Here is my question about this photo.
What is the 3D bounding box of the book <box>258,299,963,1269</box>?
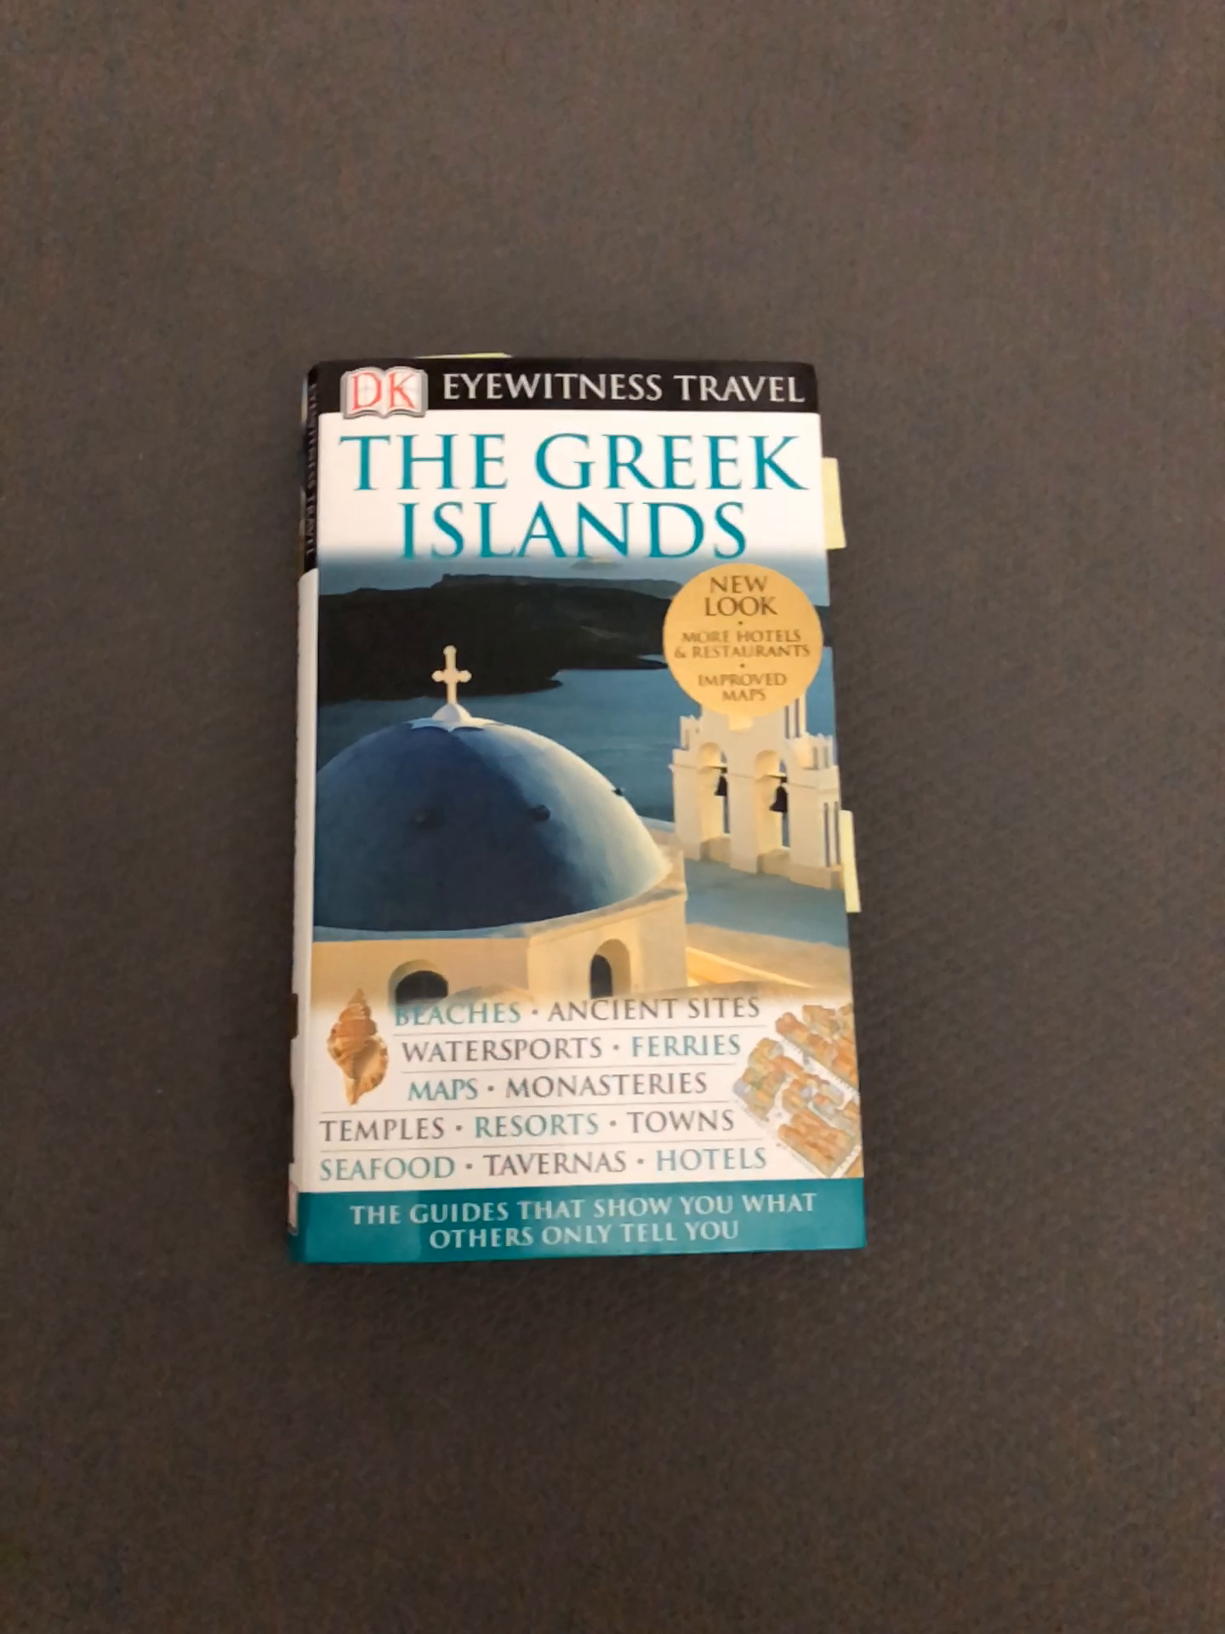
[{"bbox_3d":[-0.002,-0.014,0.346,0.160,0.030,0.240,-1,79,-1],"label":"book"}]
